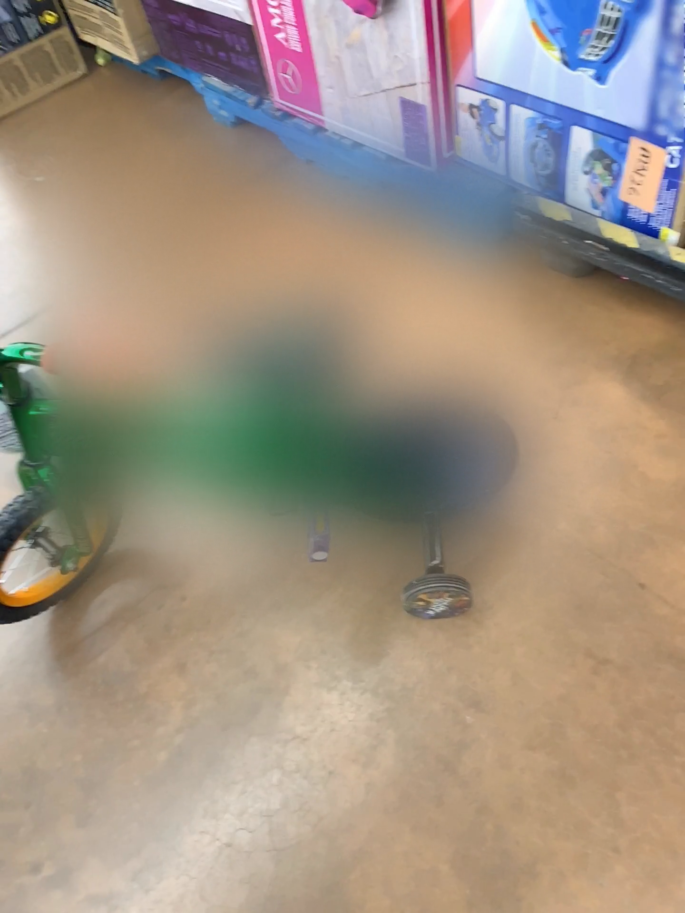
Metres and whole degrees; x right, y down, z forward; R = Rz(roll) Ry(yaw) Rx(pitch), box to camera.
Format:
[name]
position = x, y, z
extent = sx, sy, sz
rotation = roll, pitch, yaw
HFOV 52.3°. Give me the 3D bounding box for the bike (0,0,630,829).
[bike]
position = -0.174, -0.001, 0.870
extent = 0.828, 0.677, 0.533
rotation = -13, 51, 2
